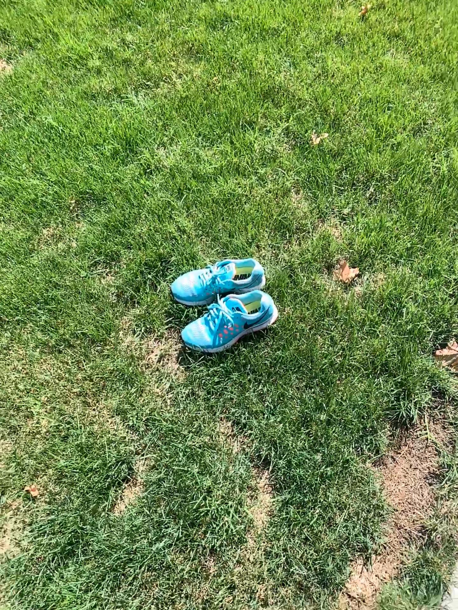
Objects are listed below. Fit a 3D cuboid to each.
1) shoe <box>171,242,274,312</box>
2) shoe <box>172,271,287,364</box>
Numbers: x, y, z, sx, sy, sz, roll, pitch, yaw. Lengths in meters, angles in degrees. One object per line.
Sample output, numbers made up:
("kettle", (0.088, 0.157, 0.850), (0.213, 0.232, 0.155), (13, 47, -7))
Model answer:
("shoe", (-0.016, -0.073, 1.234), (0.250, 0.080, 0.100), (-15, 61, -3))
("shoe", (0.004, 0.031, 1.186), (0.260, 0.100, 0.110), (-23, 62, -8))
